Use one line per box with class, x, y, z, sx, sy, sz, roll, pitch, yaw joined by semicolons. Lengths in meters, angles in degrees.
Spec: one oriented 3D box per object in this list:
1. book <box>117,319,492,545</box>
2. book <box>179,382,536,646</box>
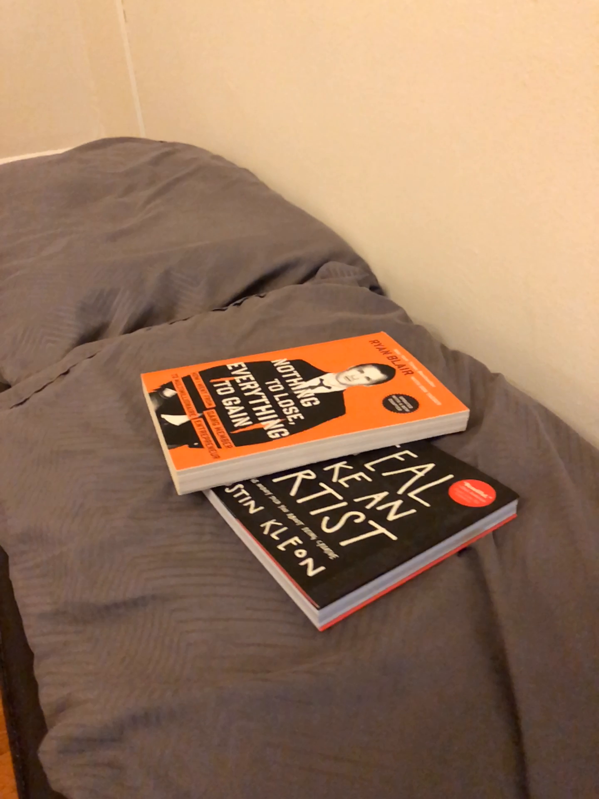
book;-0.005;0.008;0.494;0.230;0.020;0.171;-14;37;-17
book;0.034;0.056;0.426;0.170;0.020;0.151;-21;39;-29
